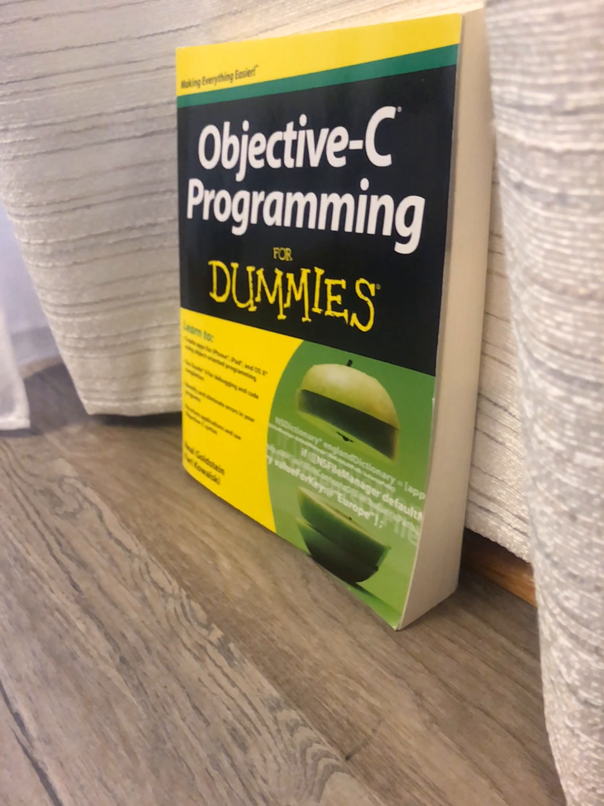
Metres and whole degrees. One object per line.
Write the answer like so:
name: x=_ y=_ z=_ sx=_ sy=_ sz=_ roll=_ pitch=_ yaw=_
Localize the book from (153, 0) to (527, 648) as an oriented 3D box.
book: x=-0.004 y=-0.040 z=0.307 sx=0.033 sy=0.230 sz=0.184 roll=-14 pitch=26 yaw=-37
